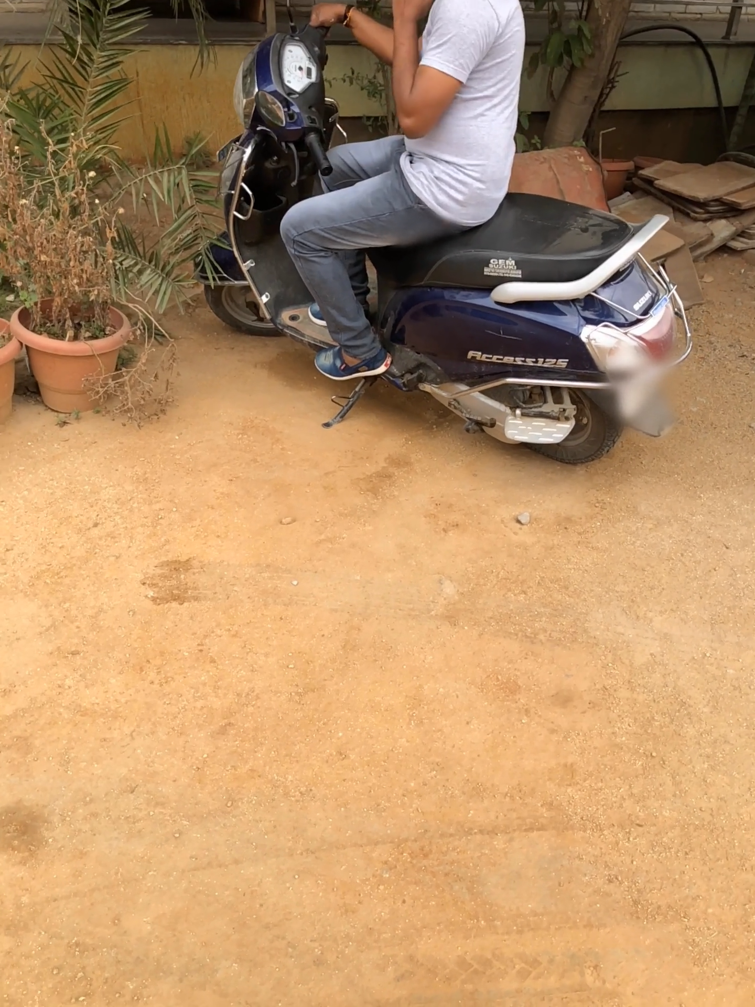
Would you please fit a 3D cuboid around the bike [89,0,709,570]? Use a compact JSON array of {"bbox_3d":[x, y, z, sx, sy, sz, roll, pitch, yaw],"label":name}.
[{"bbox_3d":[-0.012,-0.772,2.484,1.621,1.222,0.591,23,39,27],"label":"bike"}]
